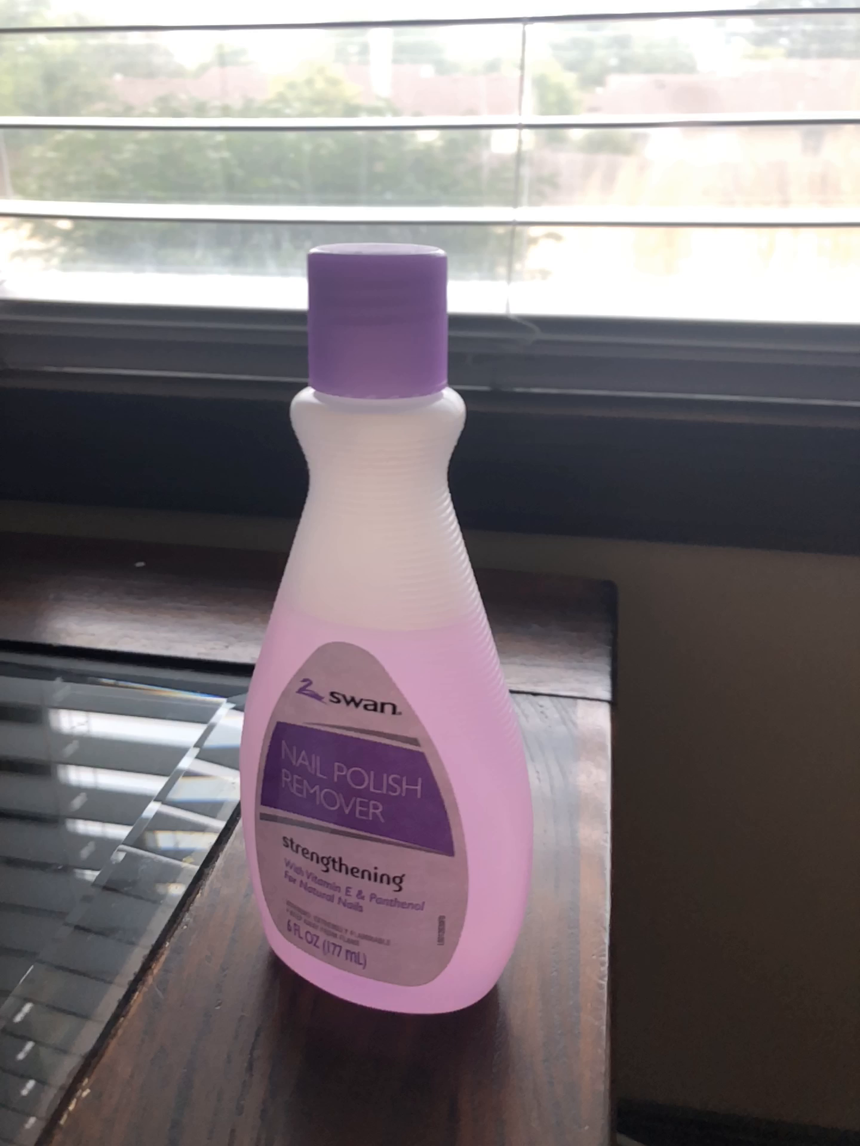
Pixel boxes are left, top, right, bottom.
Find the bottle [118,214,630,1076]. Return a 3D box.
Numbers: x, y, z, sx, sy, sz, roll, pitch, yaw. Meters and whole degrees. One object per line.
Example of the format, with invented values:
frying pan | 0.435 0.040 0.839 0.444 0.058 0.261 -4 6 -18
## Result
bottle | -0.008 0.014 0.209 0.080 0.170 0.050 9 24 21
